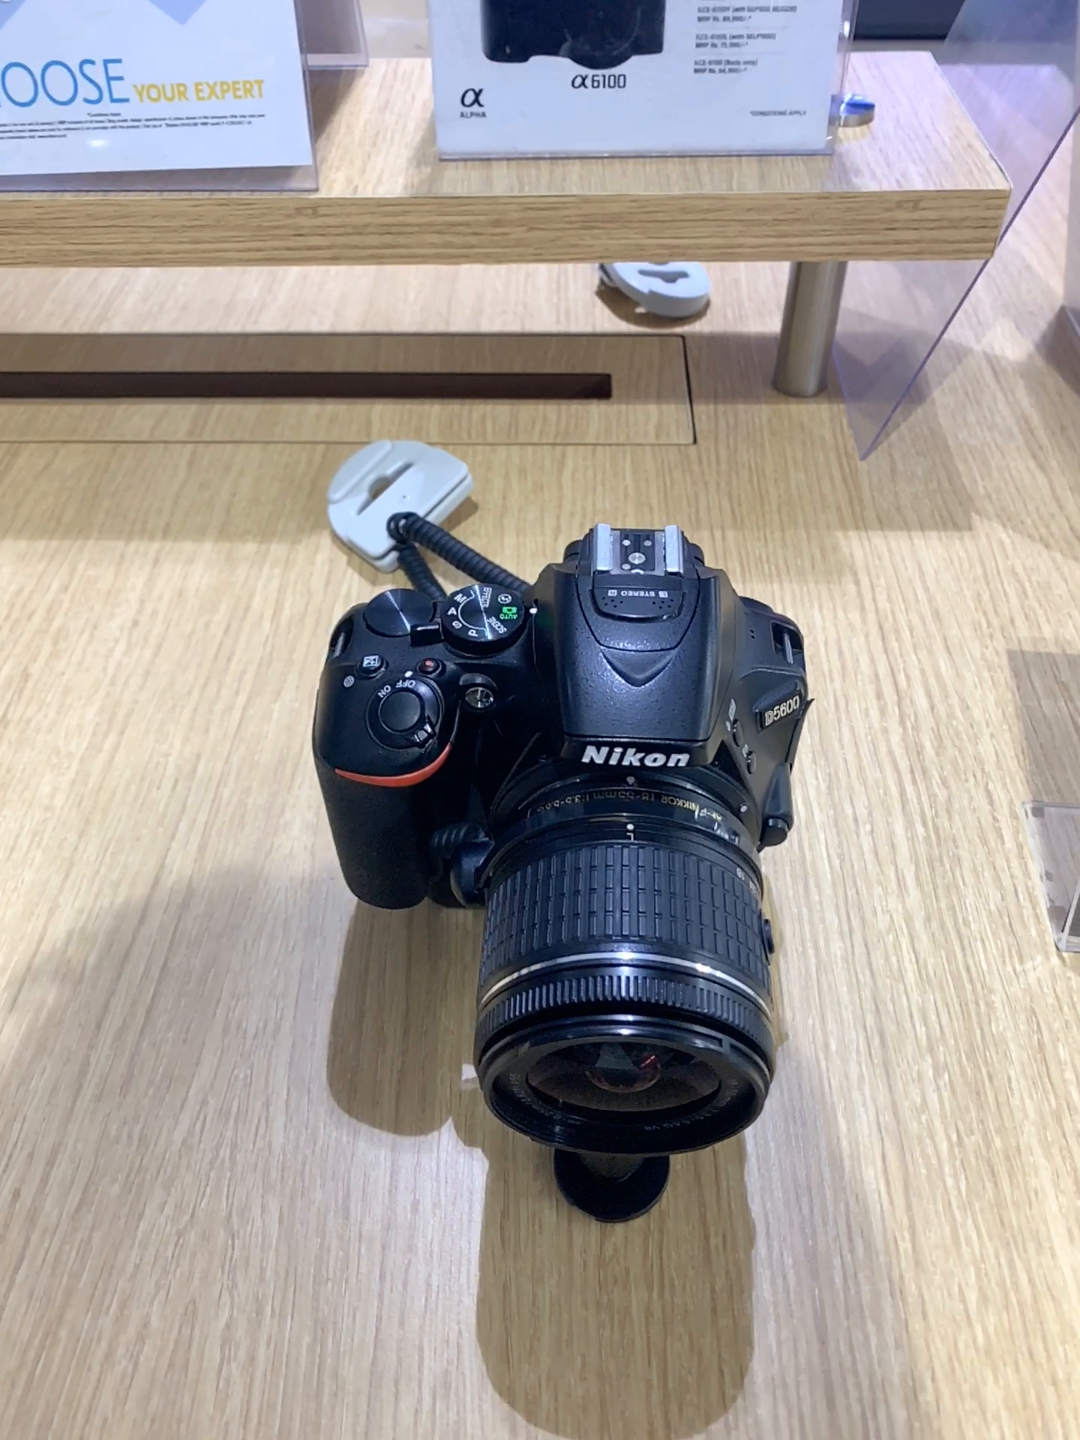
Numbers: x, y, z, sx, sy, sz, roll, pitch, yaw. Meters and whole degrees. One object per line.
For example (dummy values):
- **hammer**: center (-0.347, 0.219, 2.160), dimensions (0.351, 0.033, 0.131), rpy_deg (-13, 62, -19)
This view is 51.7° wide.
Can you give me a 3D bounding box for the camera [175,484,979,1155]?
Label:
- **camera**: center (0.007, 0.018, 0.239), dimensions (0.124, 0.080, 0.114), rpy_deg (2, 46, 2)
